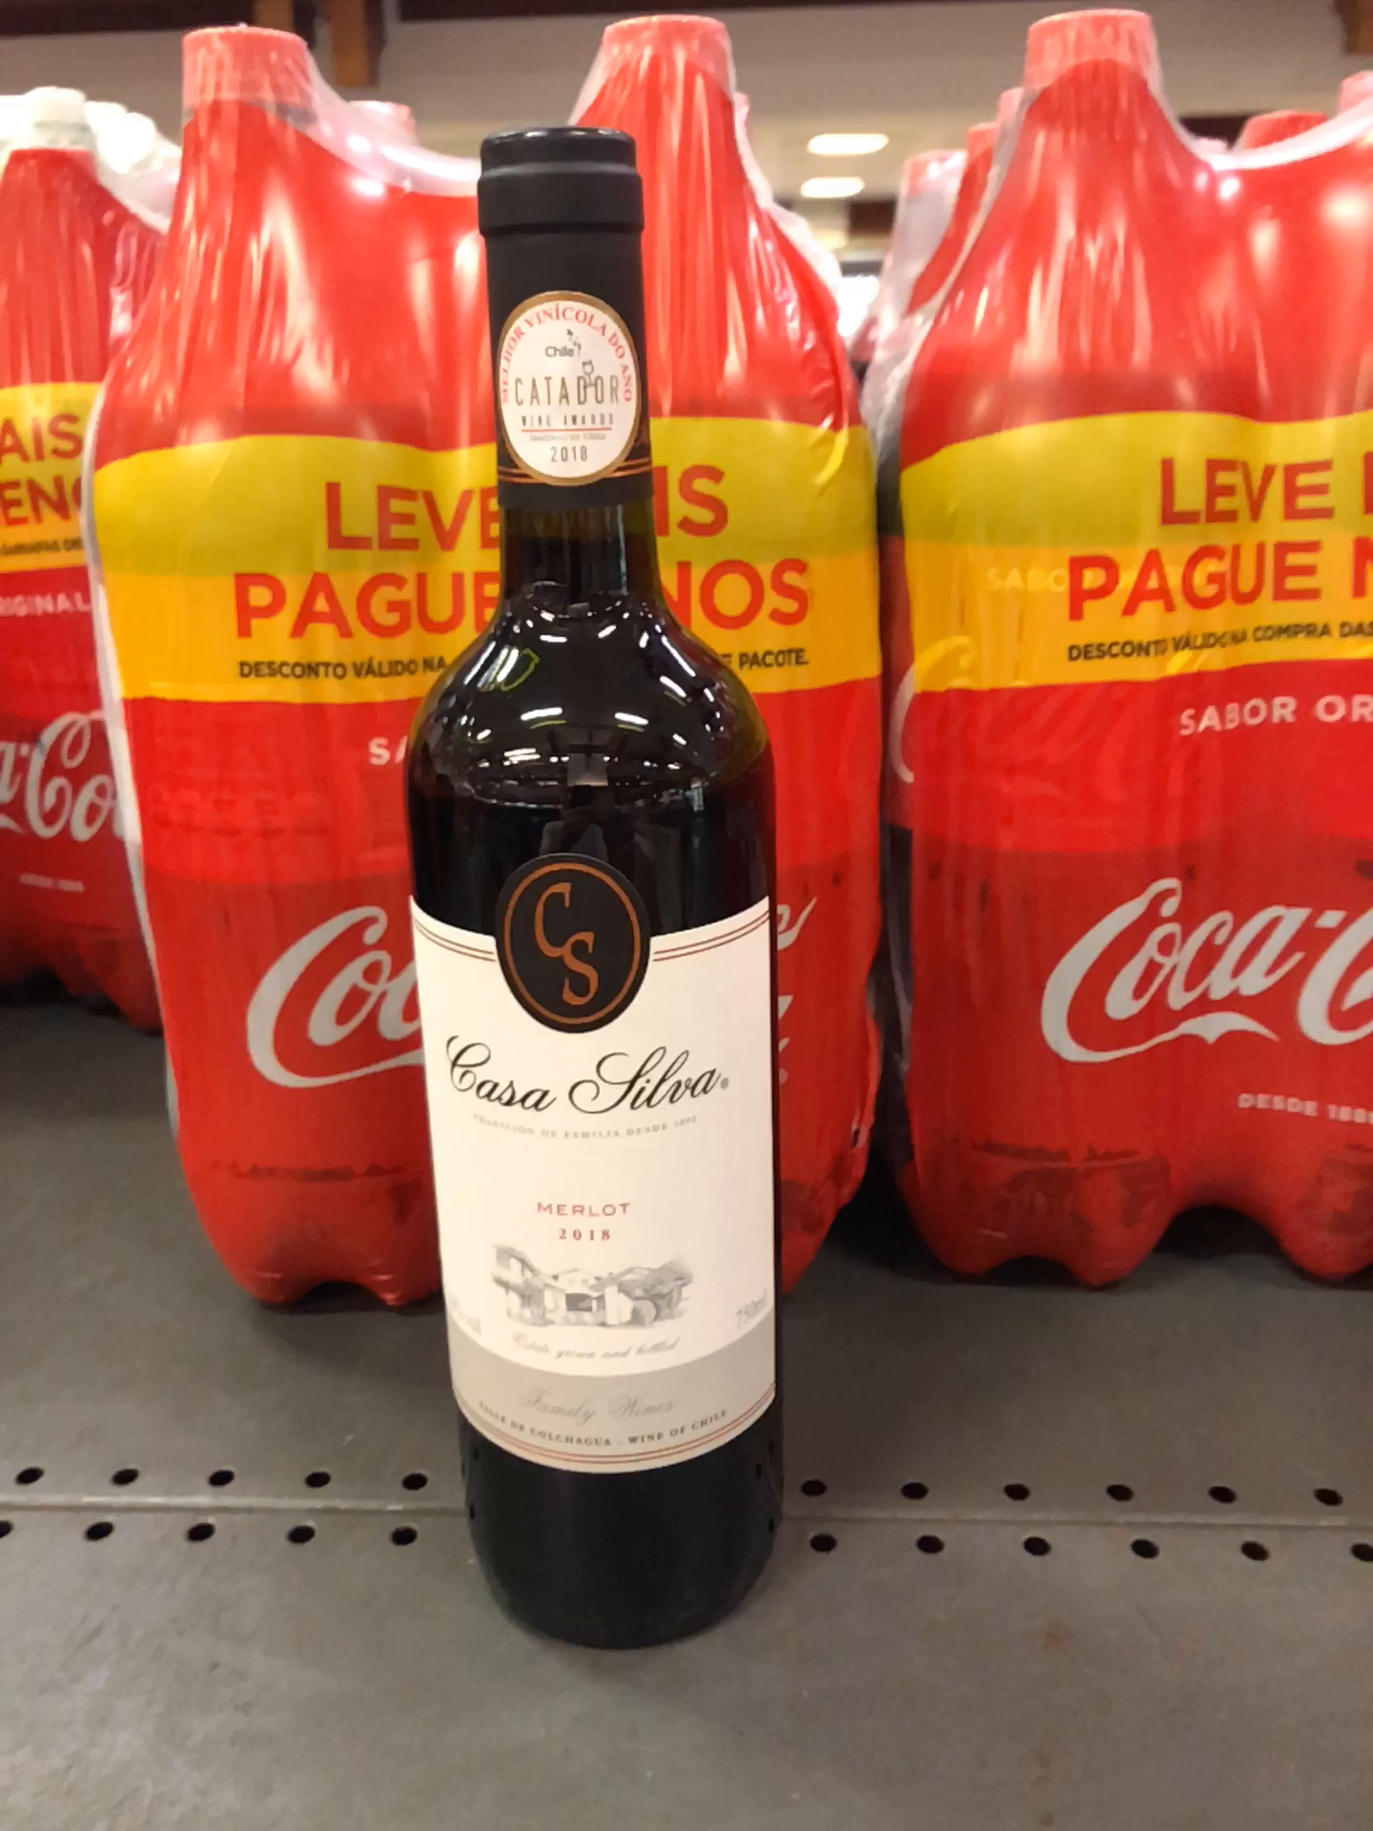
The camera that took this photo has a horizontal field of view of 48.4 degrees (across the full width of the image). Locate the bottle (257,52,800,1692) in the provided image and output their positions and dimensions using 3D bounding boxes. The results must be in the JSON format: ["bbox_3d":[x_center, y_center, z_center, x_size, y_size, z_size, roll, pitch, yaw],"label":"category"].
[{"bbox_3d":[-0.019,0.008,0.308,0.080,0.308,0.070,0,20,3],"label":"bottle"}]
